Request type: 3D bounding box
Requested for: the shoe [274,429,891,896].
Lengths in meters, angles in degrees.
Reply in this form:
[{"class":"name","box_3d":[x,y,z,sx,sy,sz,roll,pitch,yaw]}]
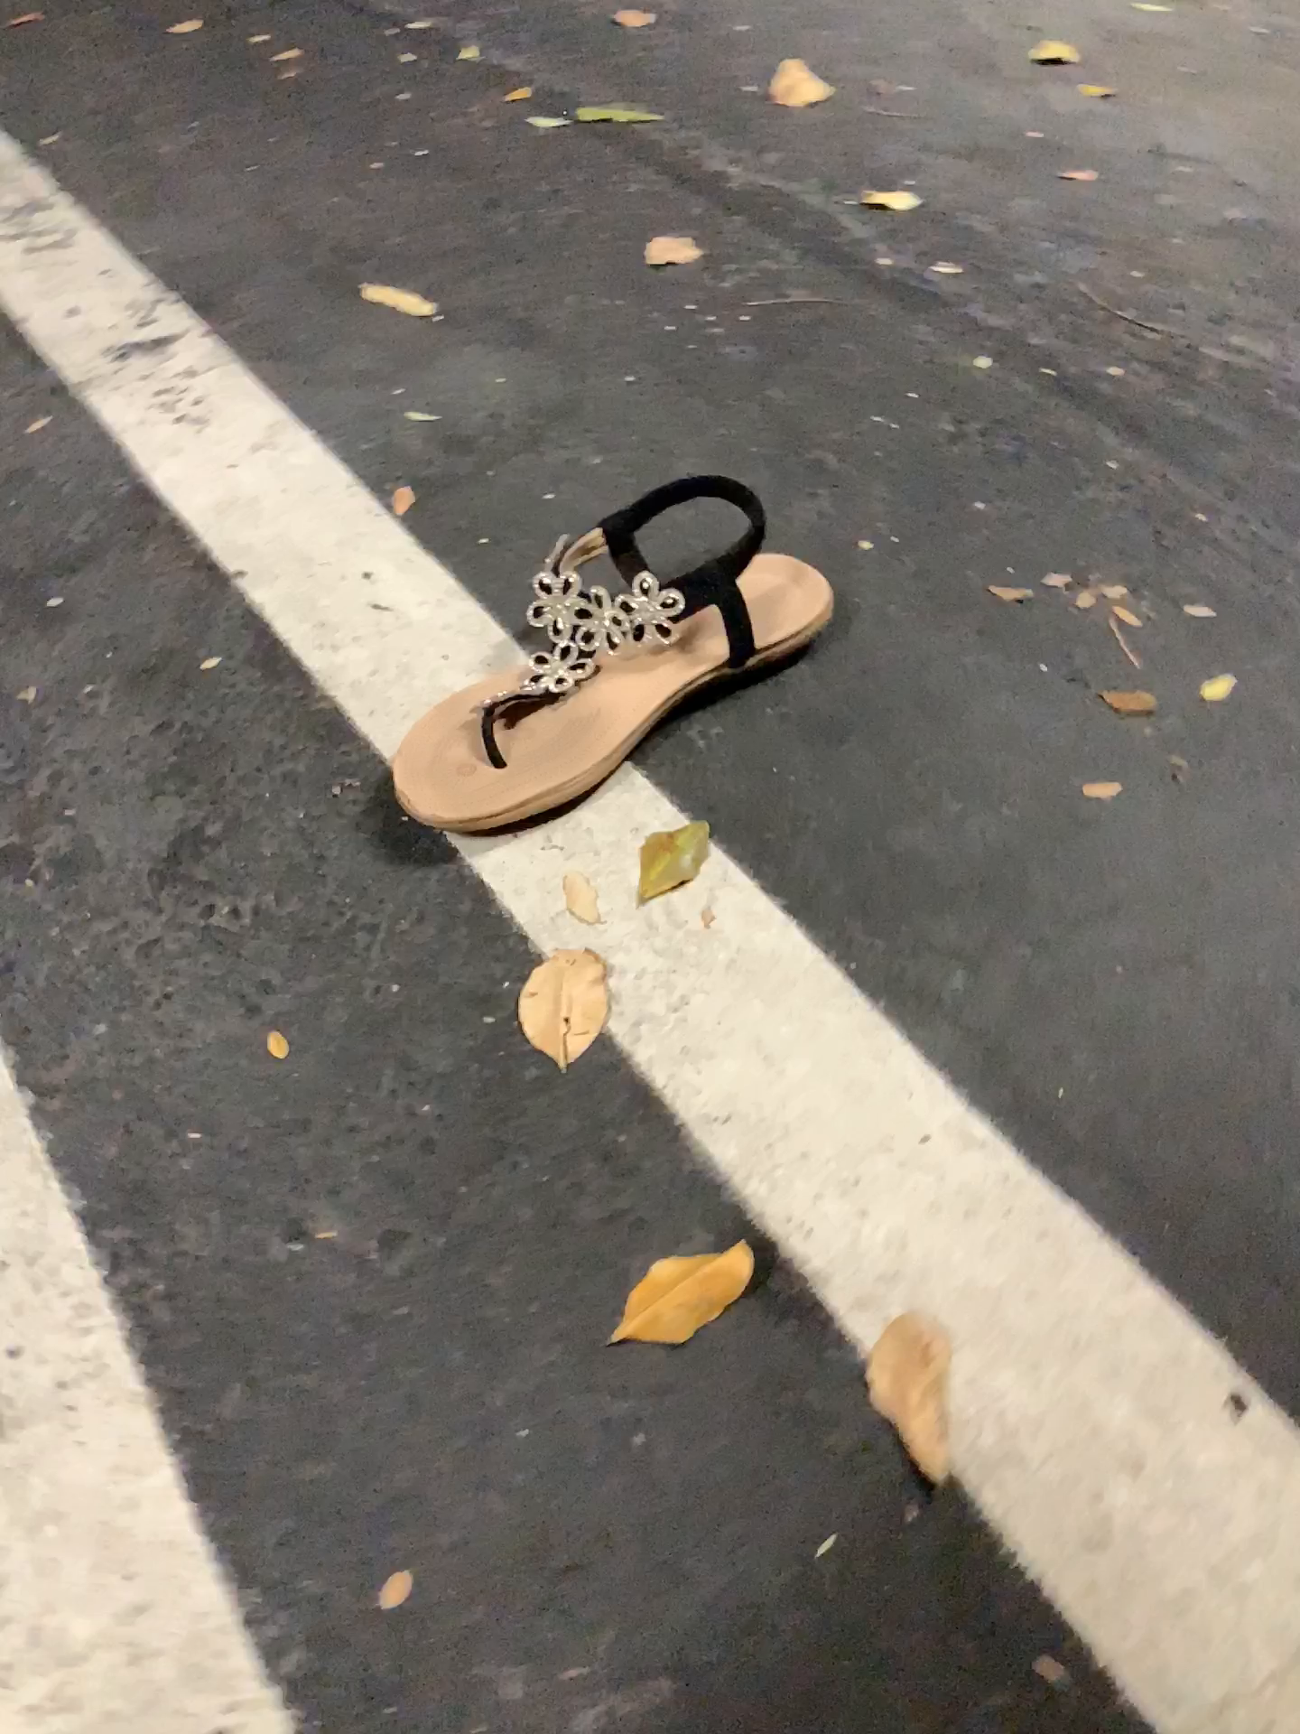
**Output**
[{"class":"shoe","box_3d":[-0.024,-0.105,0.672,0.260,0.060,0.120,-33,55,-25]}]
